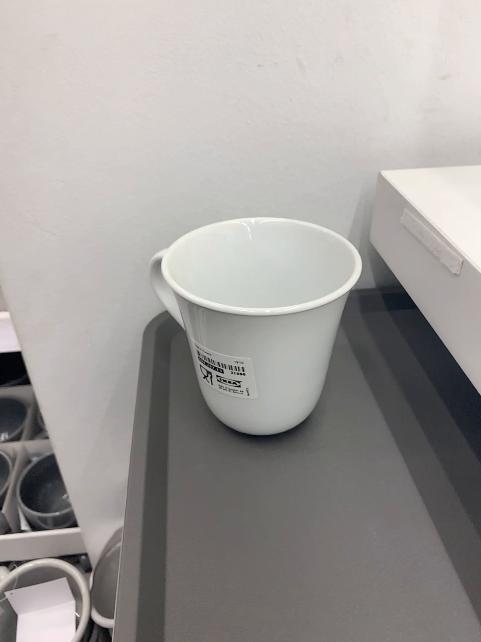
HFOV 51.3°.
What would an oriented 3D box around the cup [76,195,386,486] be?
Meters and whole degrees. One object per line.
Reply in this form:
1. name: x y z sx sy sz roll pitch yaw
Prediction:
1. cup: -0.001 0.001 0.290 0.130 0.100 0.100 16 37 24
